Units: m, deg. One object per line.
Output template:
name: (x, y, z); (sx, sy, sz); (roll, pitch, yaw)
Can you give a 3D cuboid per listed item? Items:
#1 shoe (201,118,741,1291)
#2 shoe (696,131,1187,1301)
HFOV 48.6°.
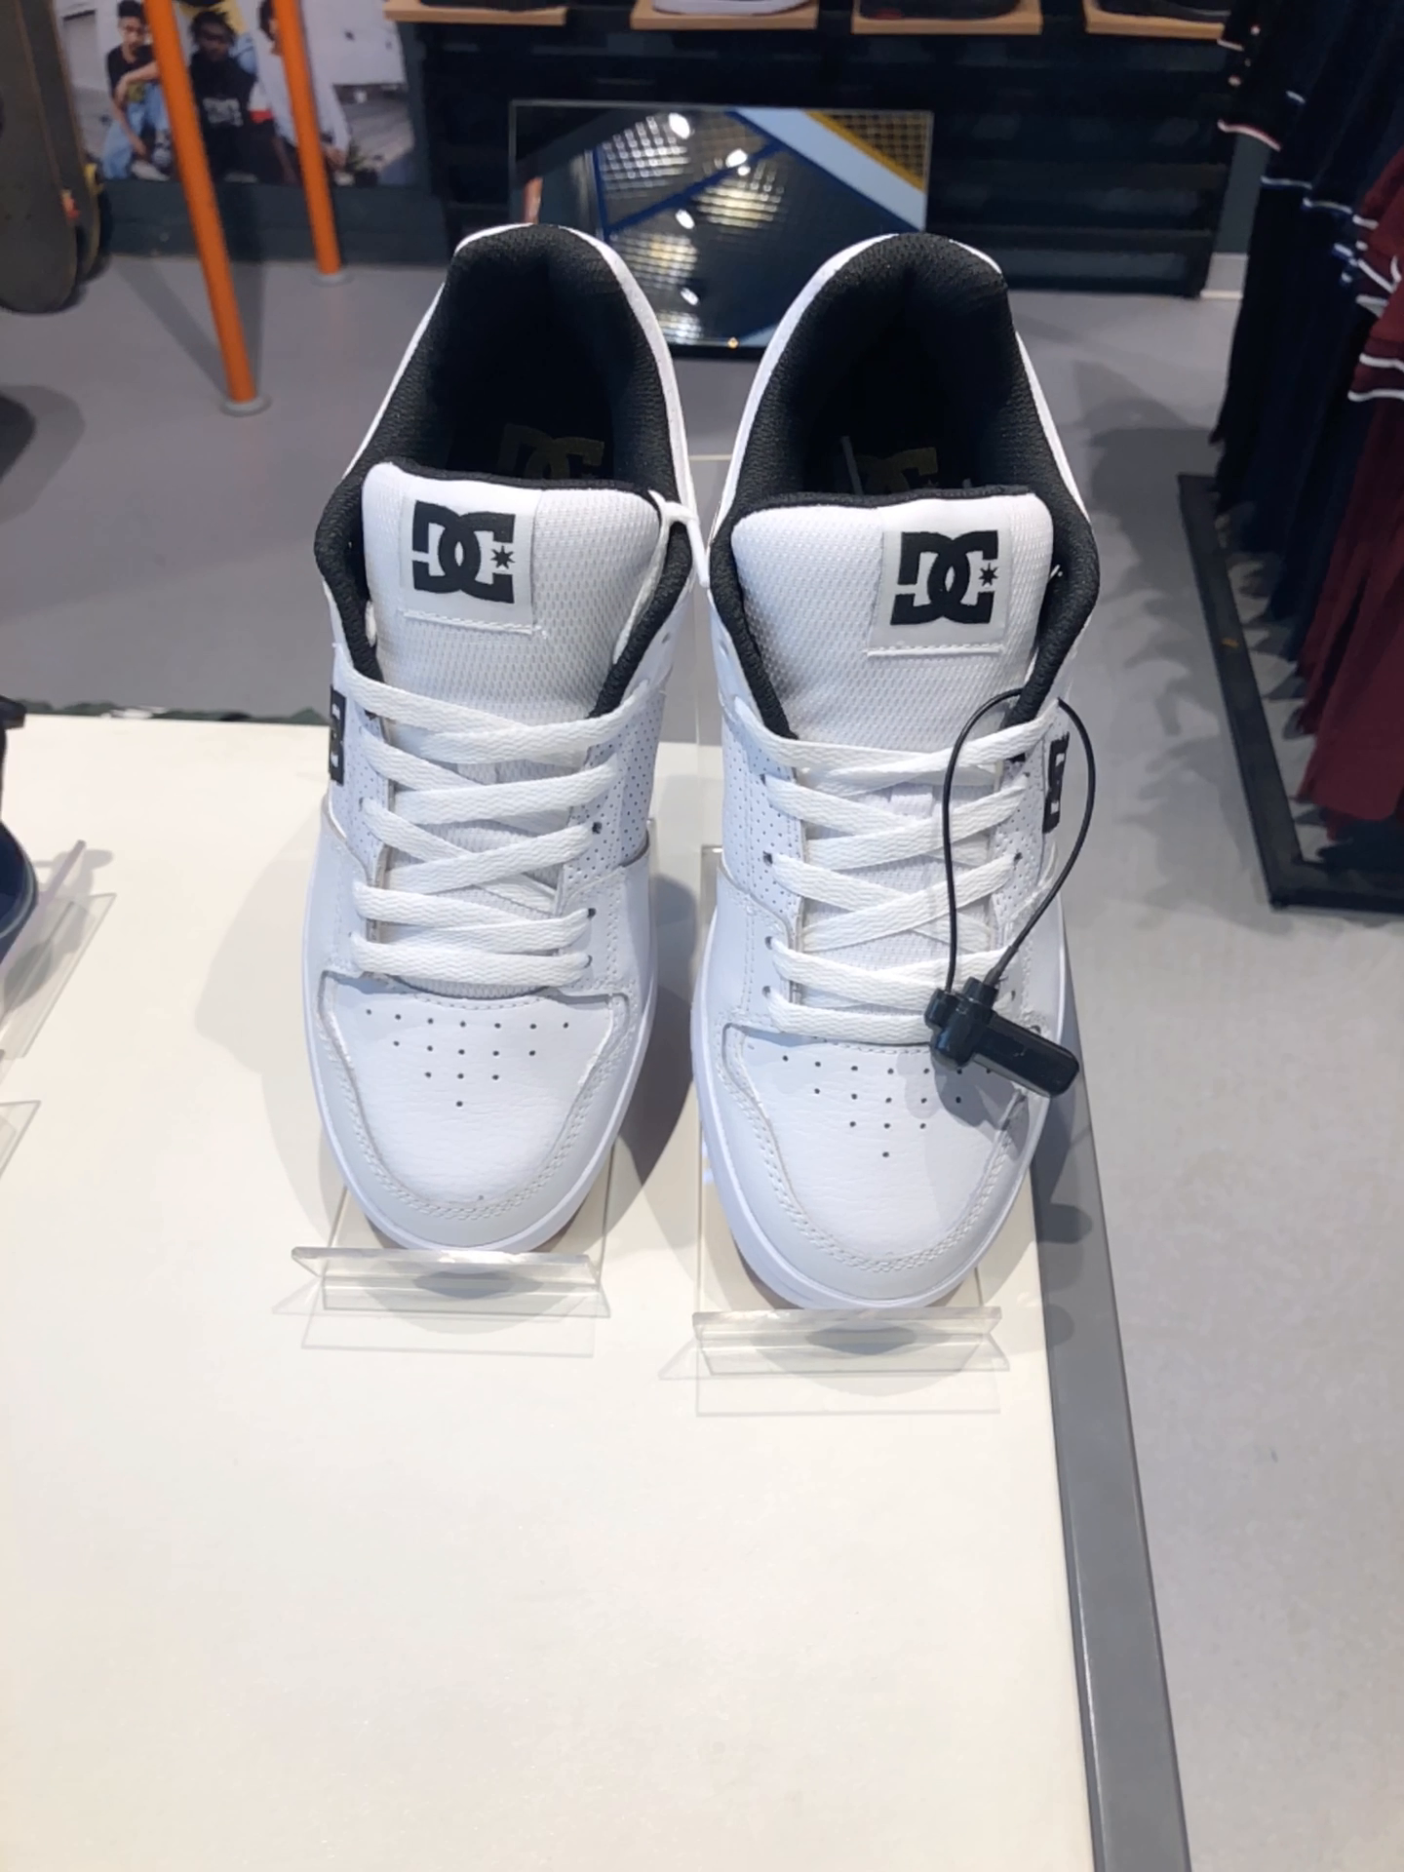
shoe: (-0.054, -0.055, 0.406); (0.103, 0.259, 0.102); (5, 5, 4)
shoe: (0.051, -0.048, 0.390); (0.095, 0.250, 0.102); (2, 3, -1)
